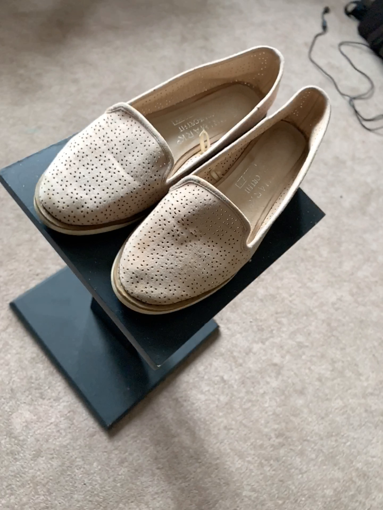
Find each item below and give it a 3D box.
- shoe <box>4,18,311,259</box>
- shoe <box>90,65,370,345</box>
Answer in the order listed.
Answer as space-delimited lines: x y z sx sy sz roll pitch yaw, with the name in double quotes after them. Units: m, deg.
-0.021 -0.109 0.359 0.251 0.080 0.080 -35 80 -20 "shoe"
0.037 -0.046 0.347 0.080 0.080 0.251 43 71 4 "shoe"
